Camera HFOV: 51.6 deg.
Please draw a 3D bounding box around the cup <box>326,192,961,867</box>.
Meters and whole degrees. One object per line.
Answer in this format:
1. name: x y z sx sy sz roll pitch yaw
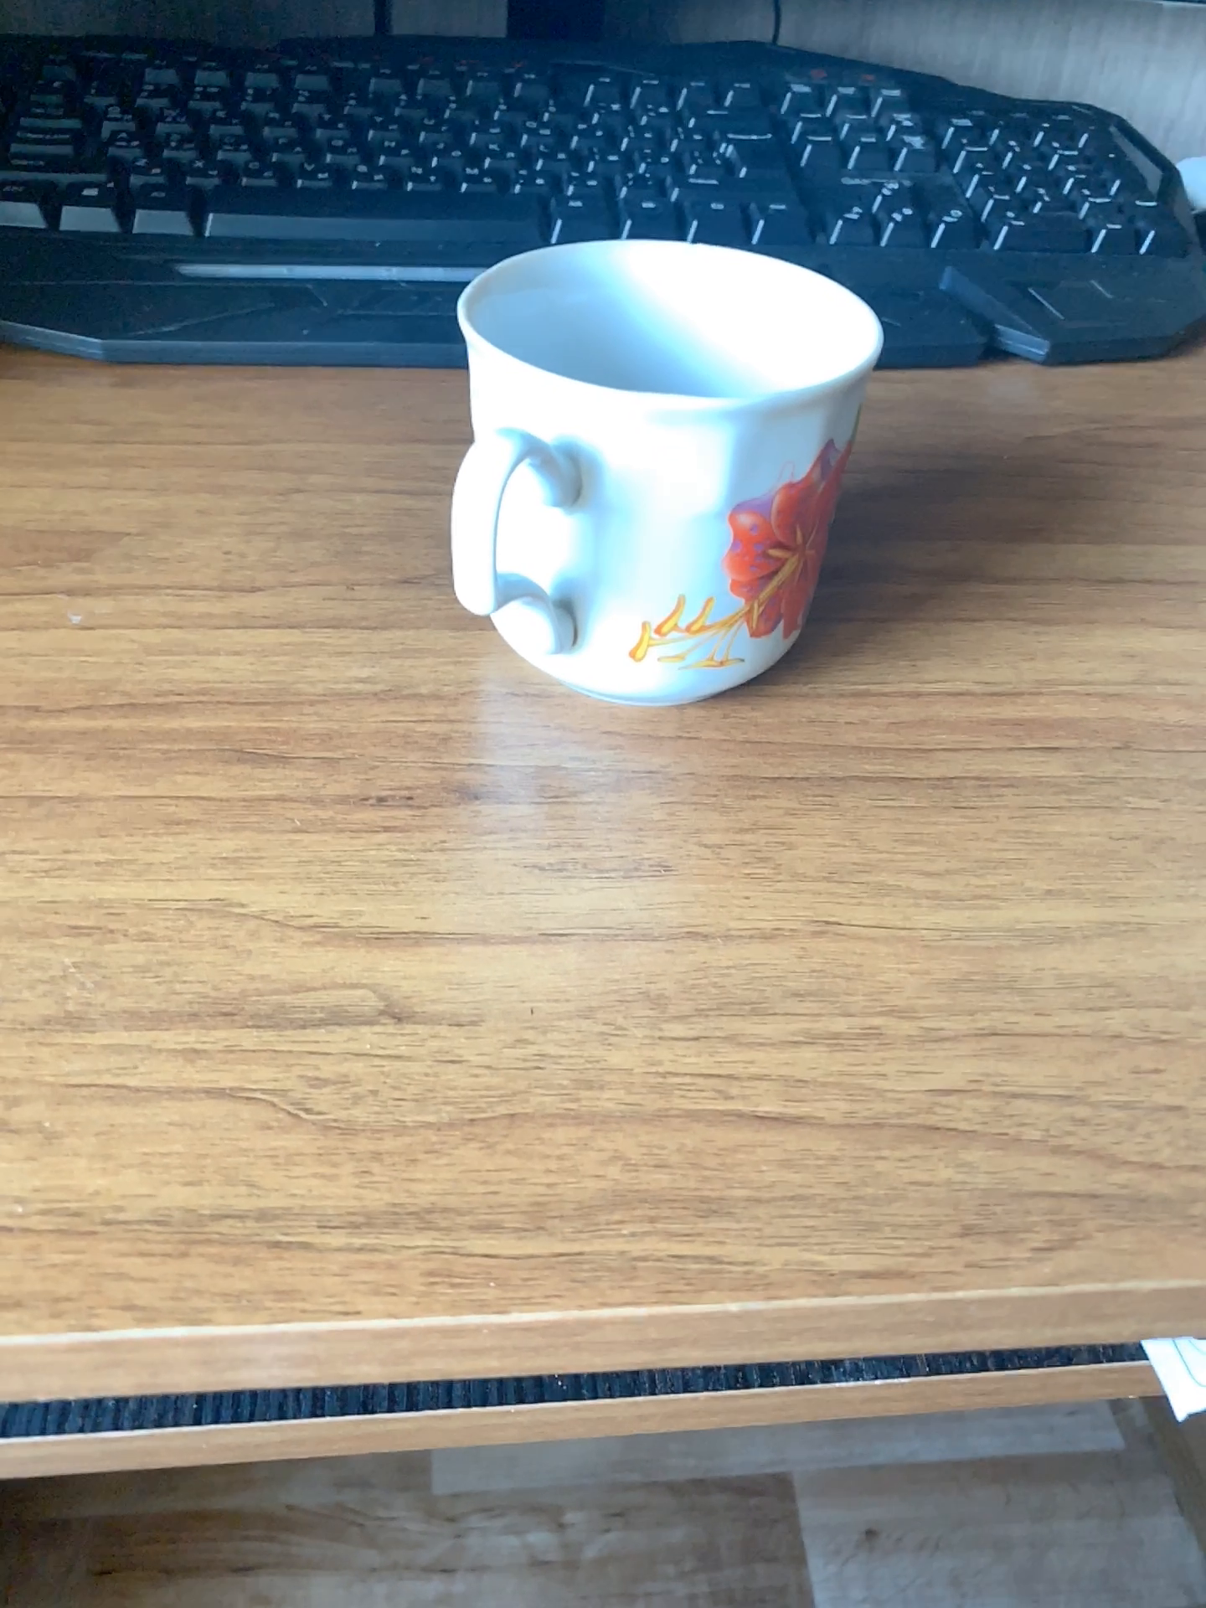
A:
1. cup: 0.012 -0.061 0.250 0.070 0.080 0.110 22 44 21
